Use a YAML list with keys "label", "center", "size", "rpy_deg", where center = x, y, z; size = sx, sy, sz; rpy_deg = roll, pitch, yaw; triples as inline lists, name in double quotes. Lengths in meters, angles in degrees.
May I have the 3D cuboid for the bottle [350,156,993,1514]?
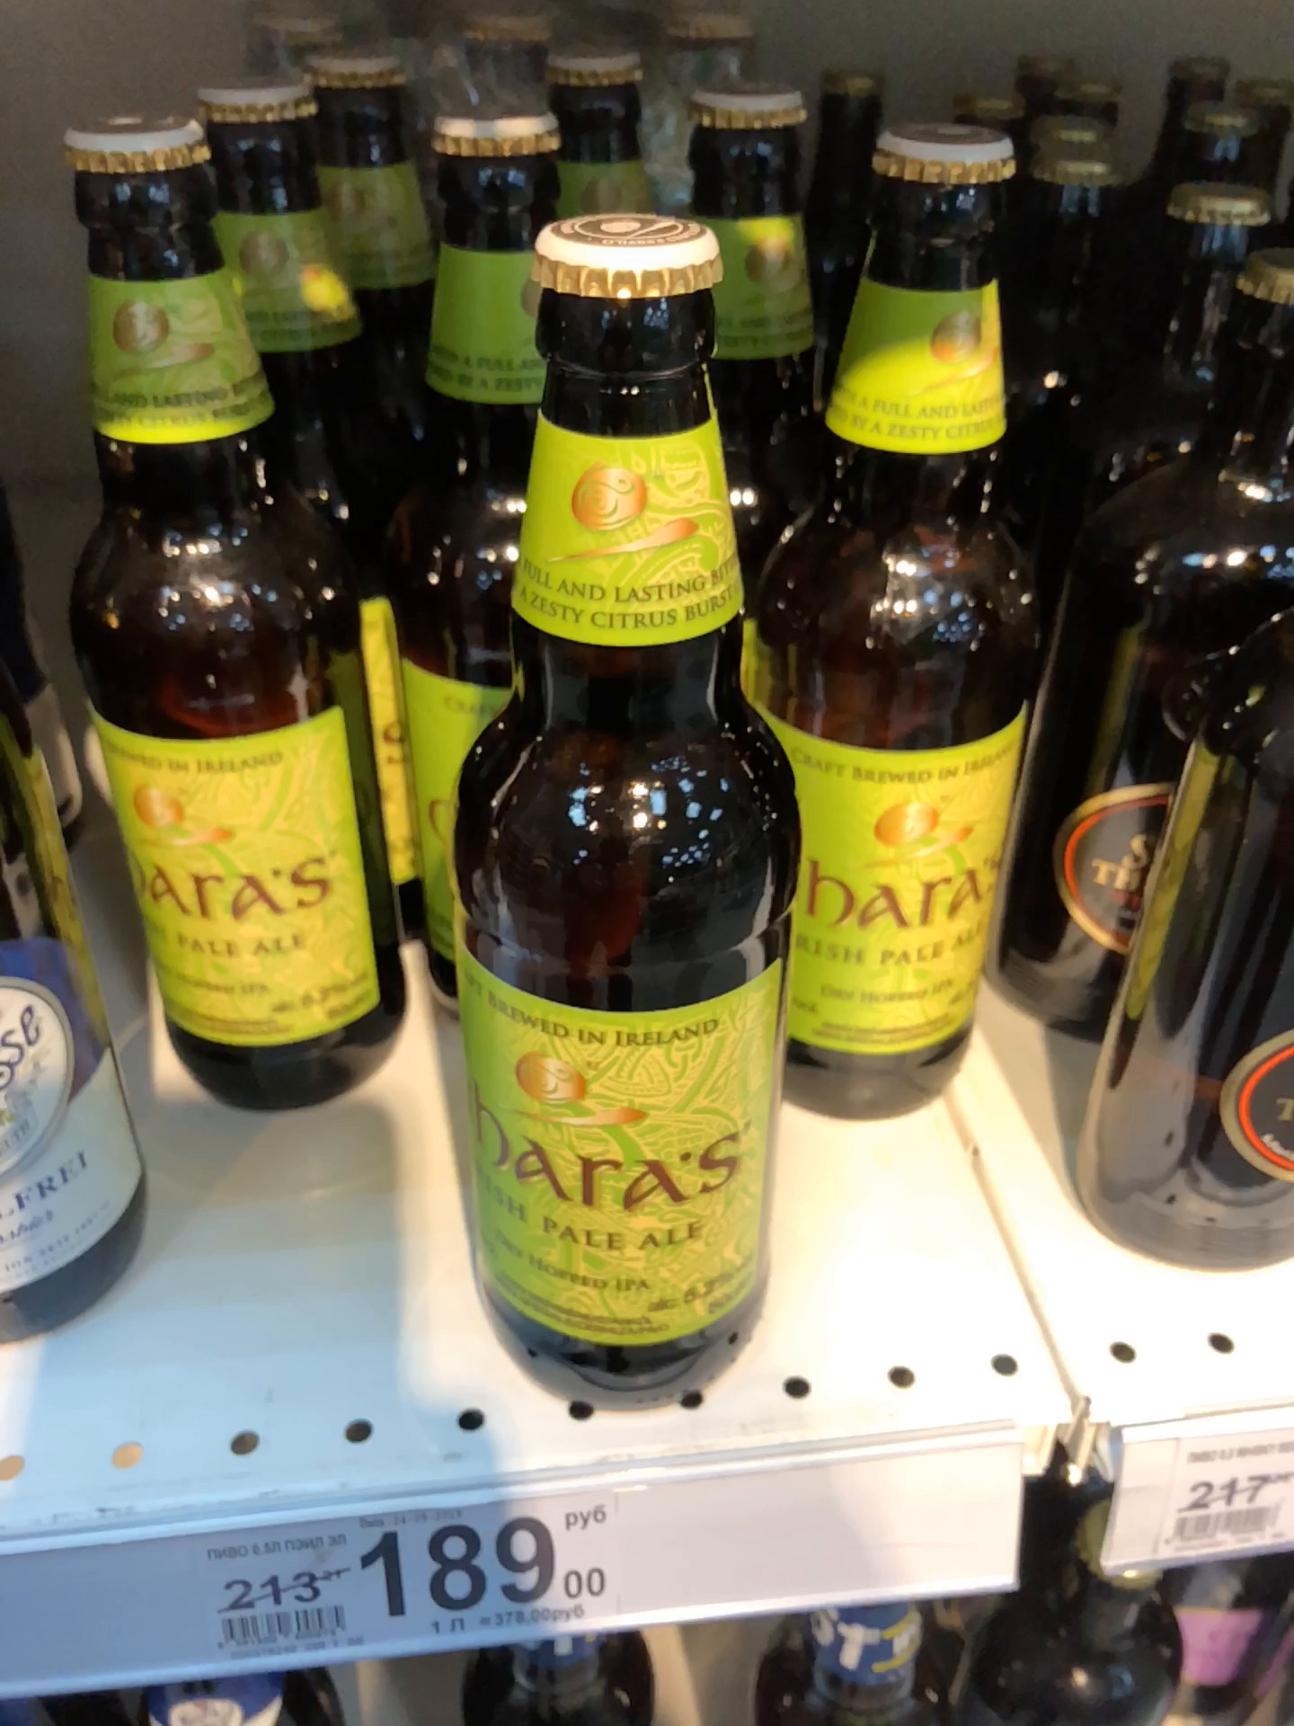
- label: "bottle"
  center: [0.005, 0.010, 0.278]
  size: [0.070, 0.250, 0.070]
  rpy_deg: [1, 34, -1]
